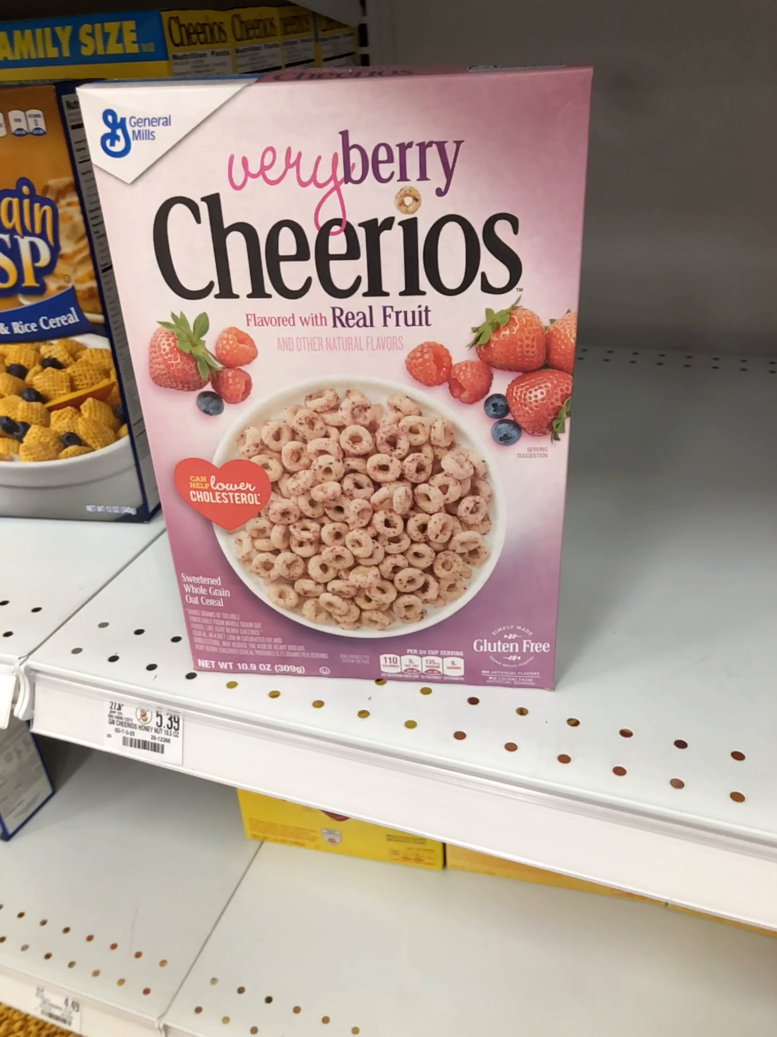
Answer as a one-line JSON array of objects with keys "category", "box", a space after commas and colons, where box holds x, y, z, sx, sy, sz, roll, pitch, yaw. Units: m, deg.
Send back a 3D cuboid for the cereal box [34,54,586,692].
[{"category": "cereal box", "box": [-0.021, -0.051, 0.402, 0.200, 0.279, 0.060, 2, 32, 9]}]
